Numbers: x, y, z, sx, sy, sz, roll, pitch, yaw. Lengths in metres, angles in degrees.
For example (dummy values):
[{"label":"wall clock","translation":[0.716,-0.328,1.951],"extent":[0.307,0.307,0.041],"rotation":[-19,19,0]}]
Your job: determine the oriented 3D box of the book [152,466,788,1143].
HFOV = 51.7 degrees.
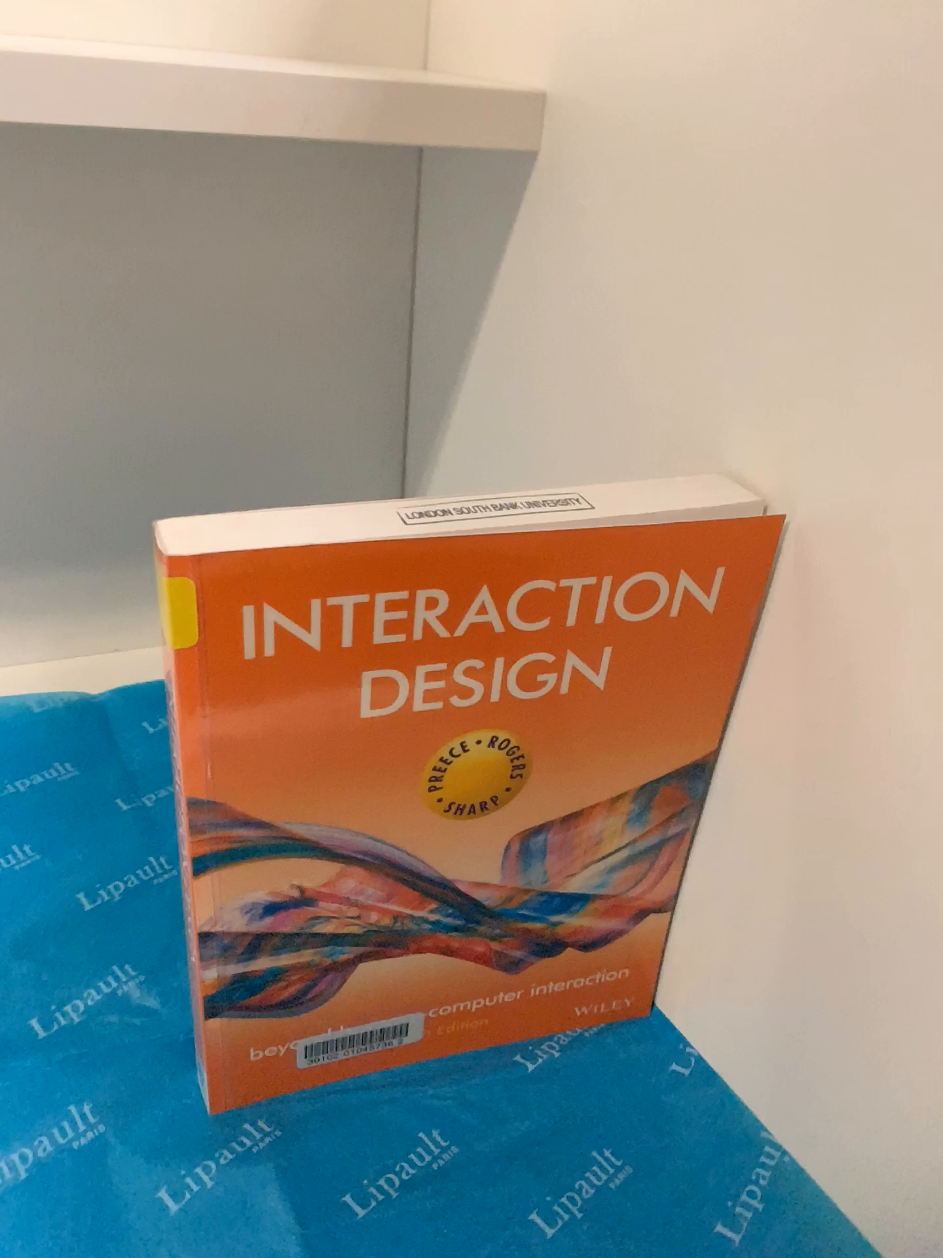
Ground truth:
[{"label":"book","translation":[-0.004,0.069,0.355],"extent":[0.195,0.247,0.030],"rotation":[-8,34,-22]}]
